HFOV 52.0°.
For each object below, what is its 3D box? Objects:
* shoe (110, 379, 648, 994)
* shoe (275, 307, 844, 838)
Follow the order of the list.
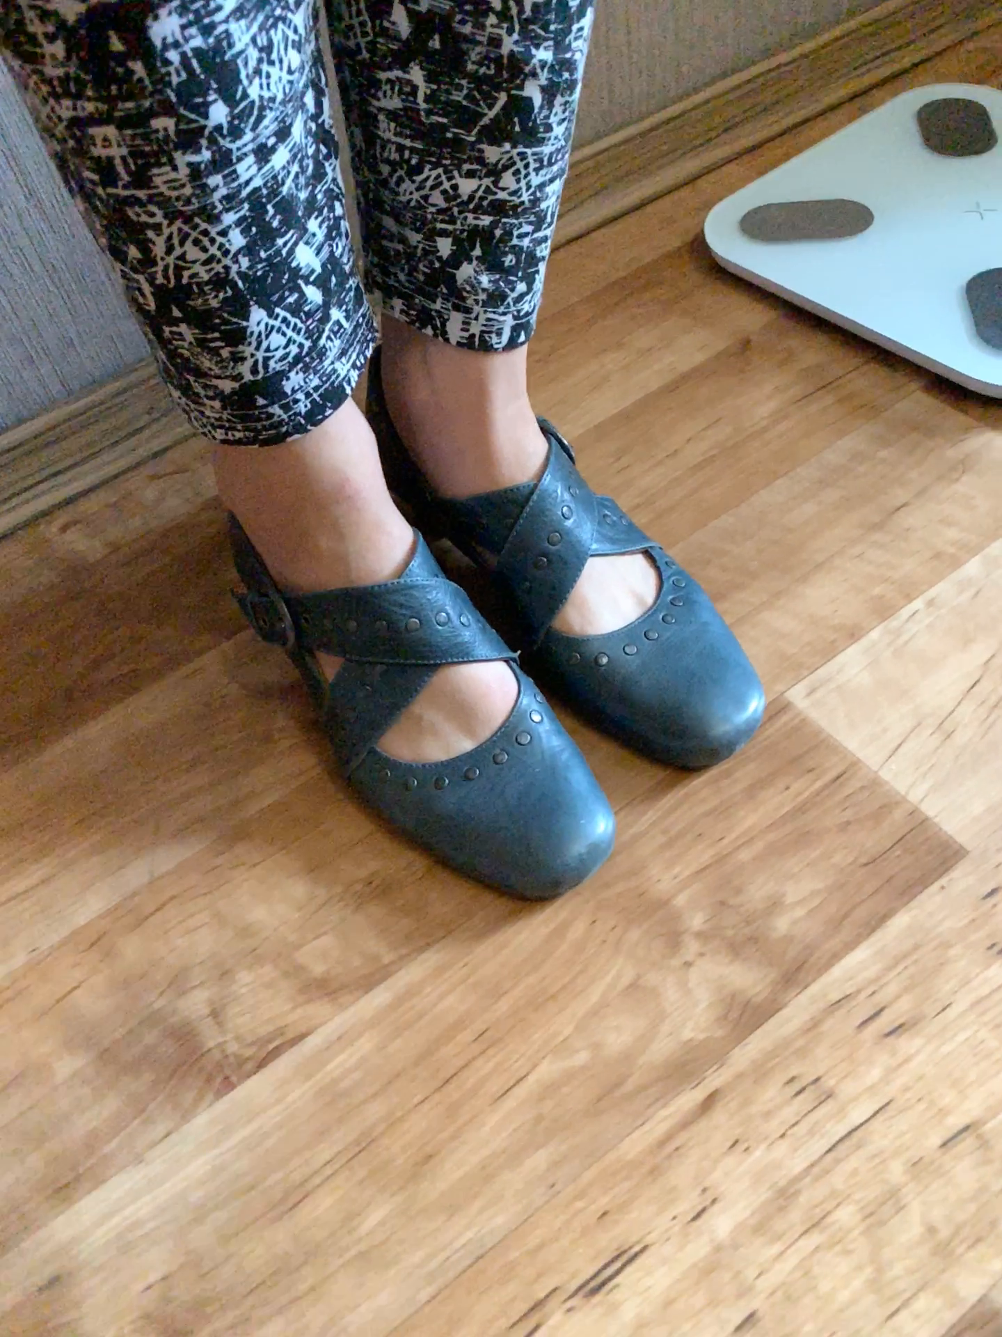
[{"bbox_3d":[-0.054,-0.006,0.420,0.090,0.100,0.241,-33,53,-17],"label":"shoe"},{"bbox_3d":[0.016,-0.055,0.464,0.090,0.100,0.251,-37,55,-20],"label":"shoe"}]
